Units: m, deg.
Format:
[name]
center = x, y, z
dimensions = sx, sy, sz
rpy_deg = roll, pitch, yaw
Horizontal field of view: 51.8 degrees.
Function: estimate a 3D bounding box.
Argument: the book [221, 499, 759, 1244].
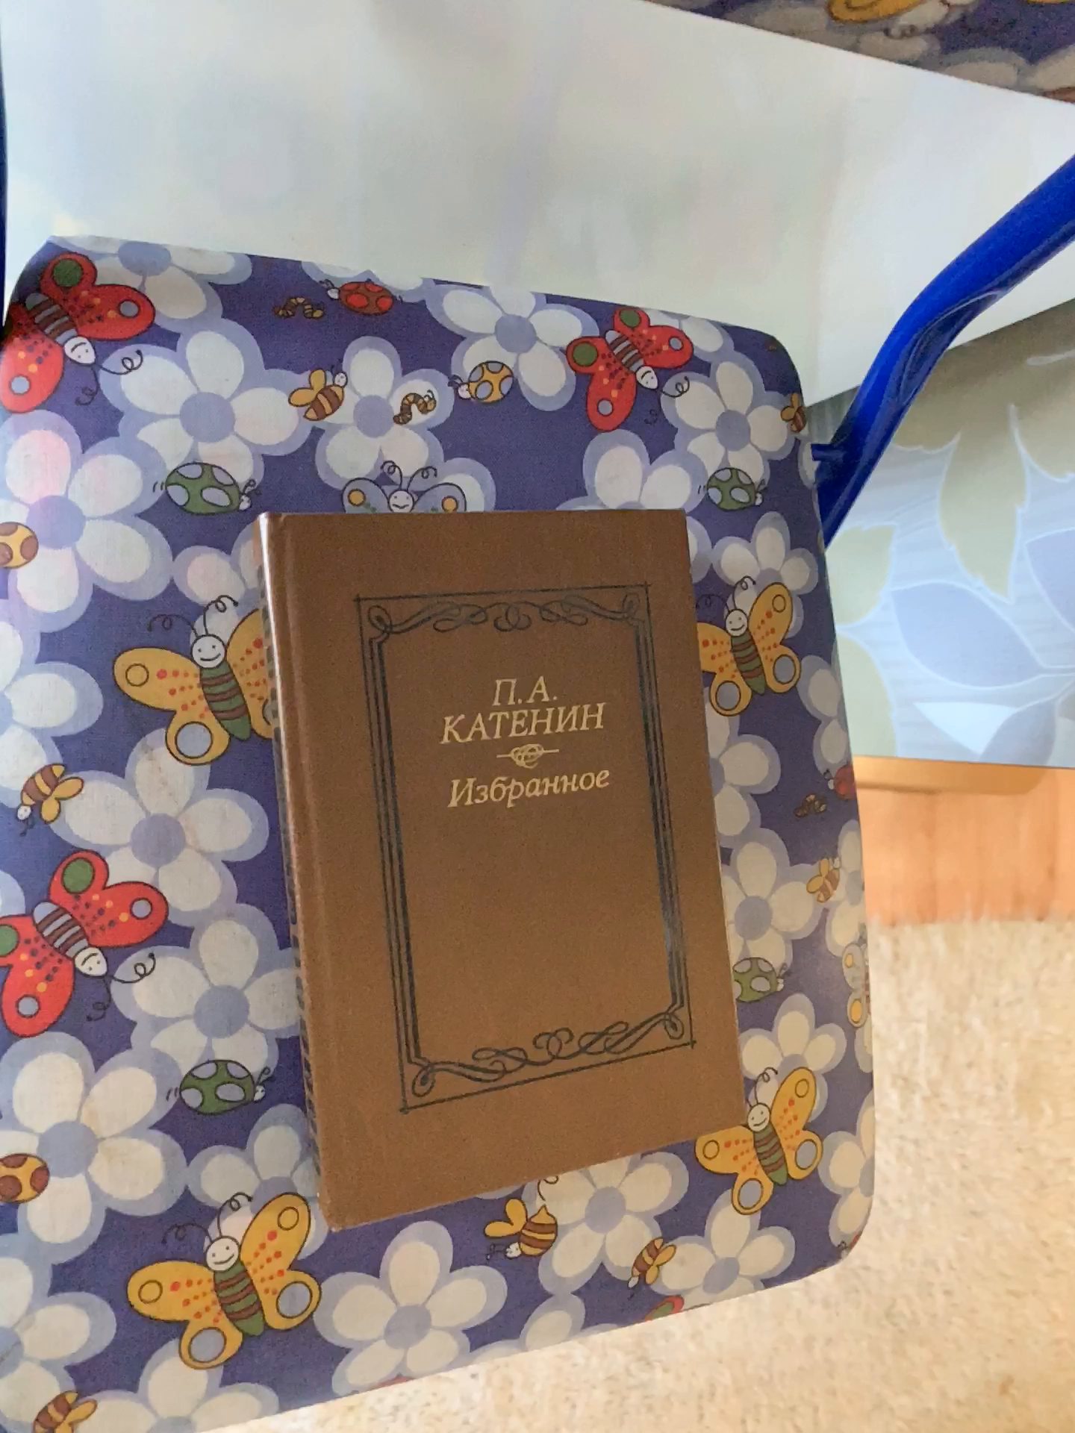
[book]
center = -0.009, 0.031, 0.288
dimensions = 0.124, 0.020, 0.170
rpy_deg = -6, 90, -23
